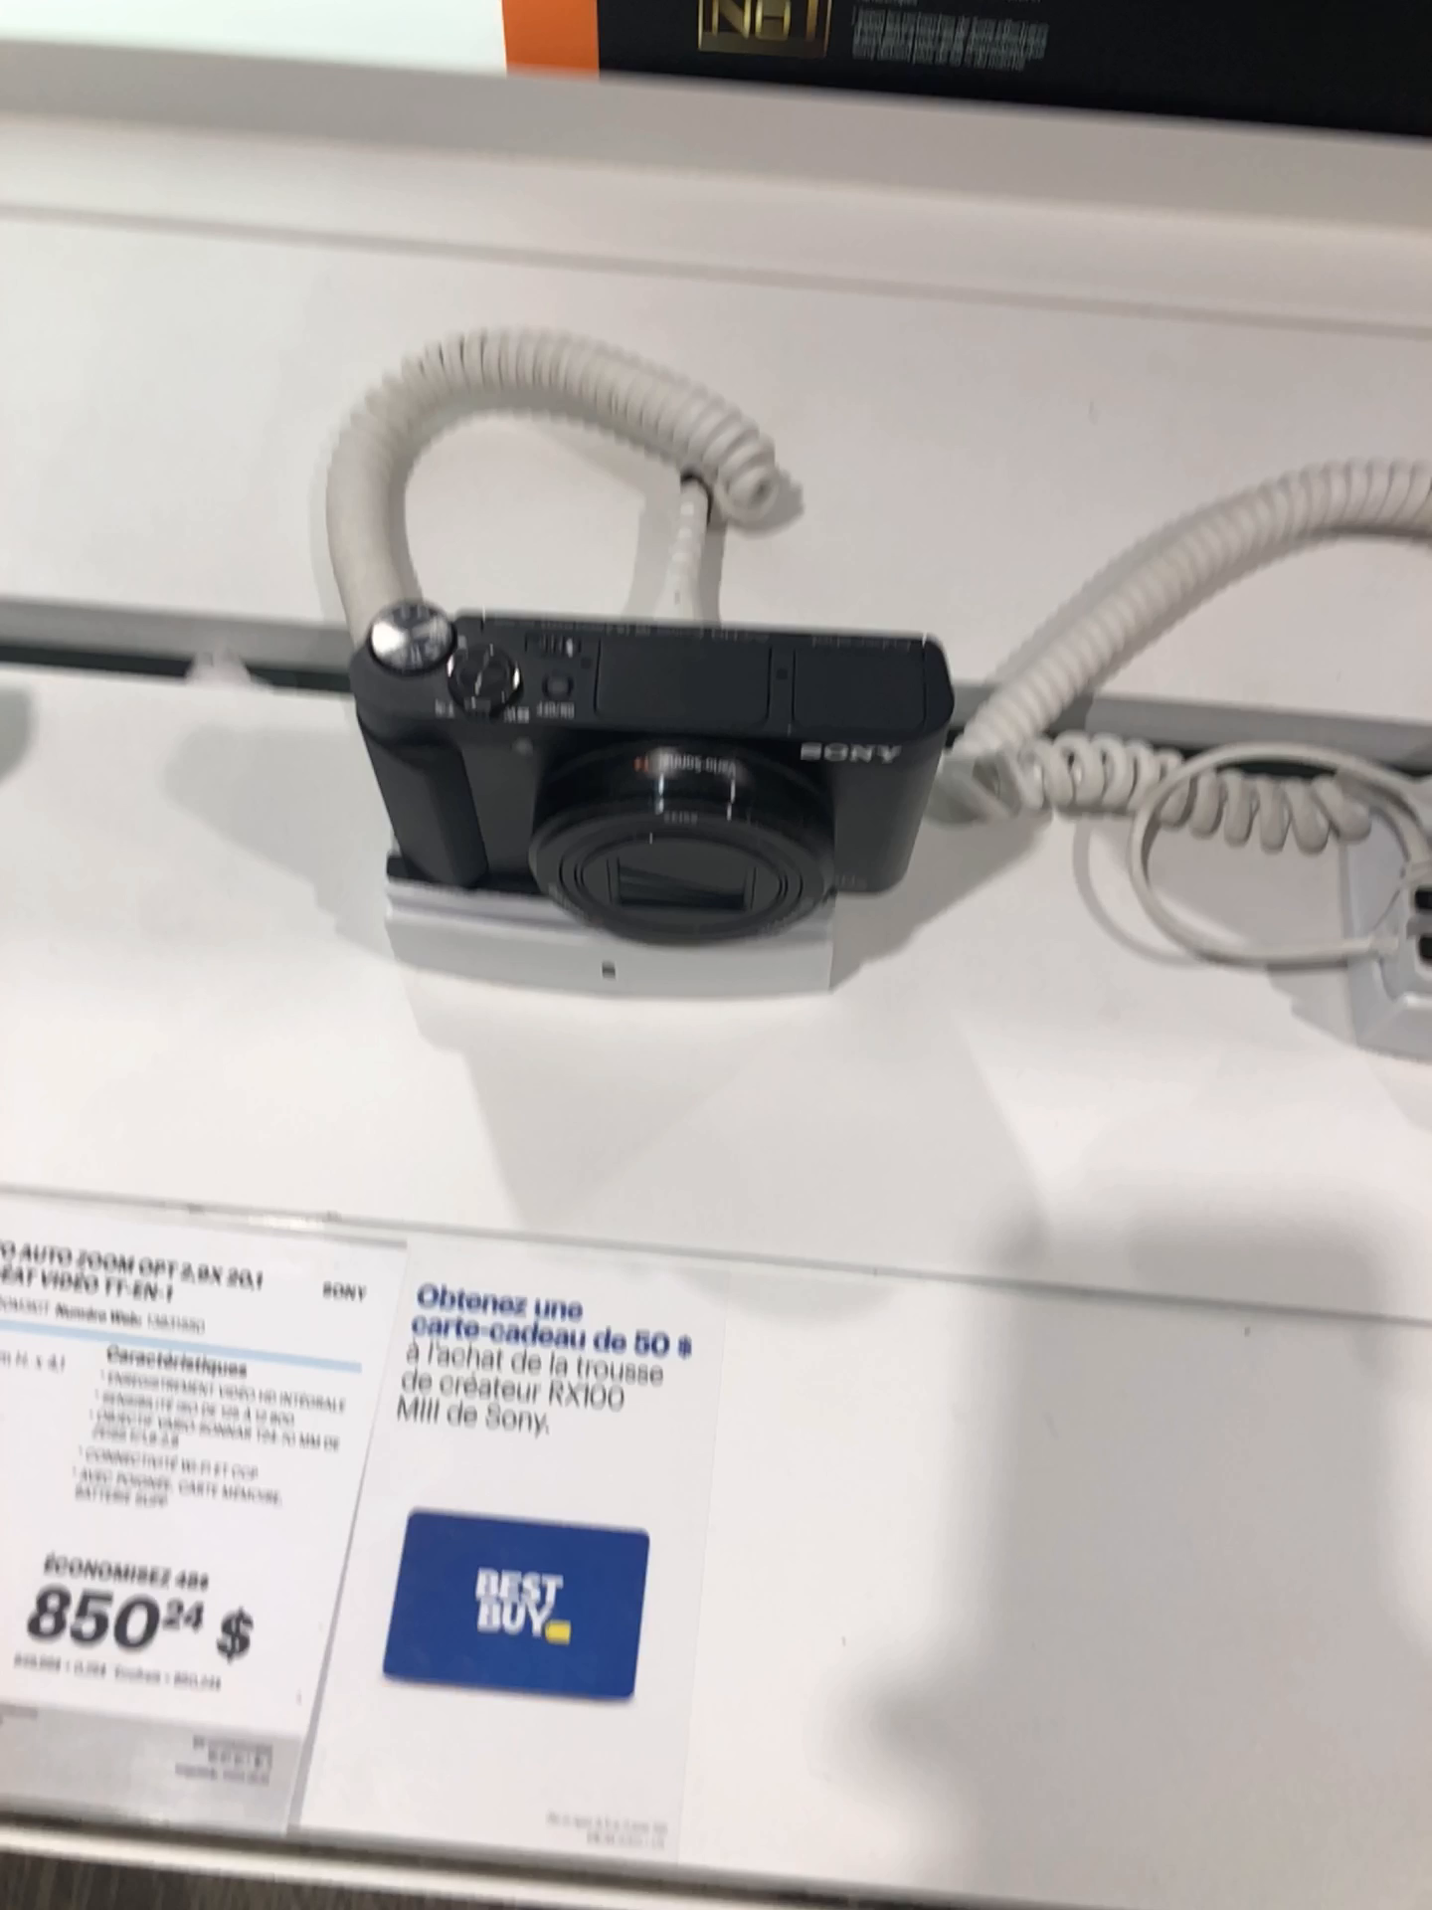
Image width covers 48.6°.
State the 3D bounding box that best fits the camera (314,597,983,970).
[{"bbox_3d":[-0.011,-0.029,0.298,0.110,0.070,0.030,3,62,0],"label":"camera"}]
